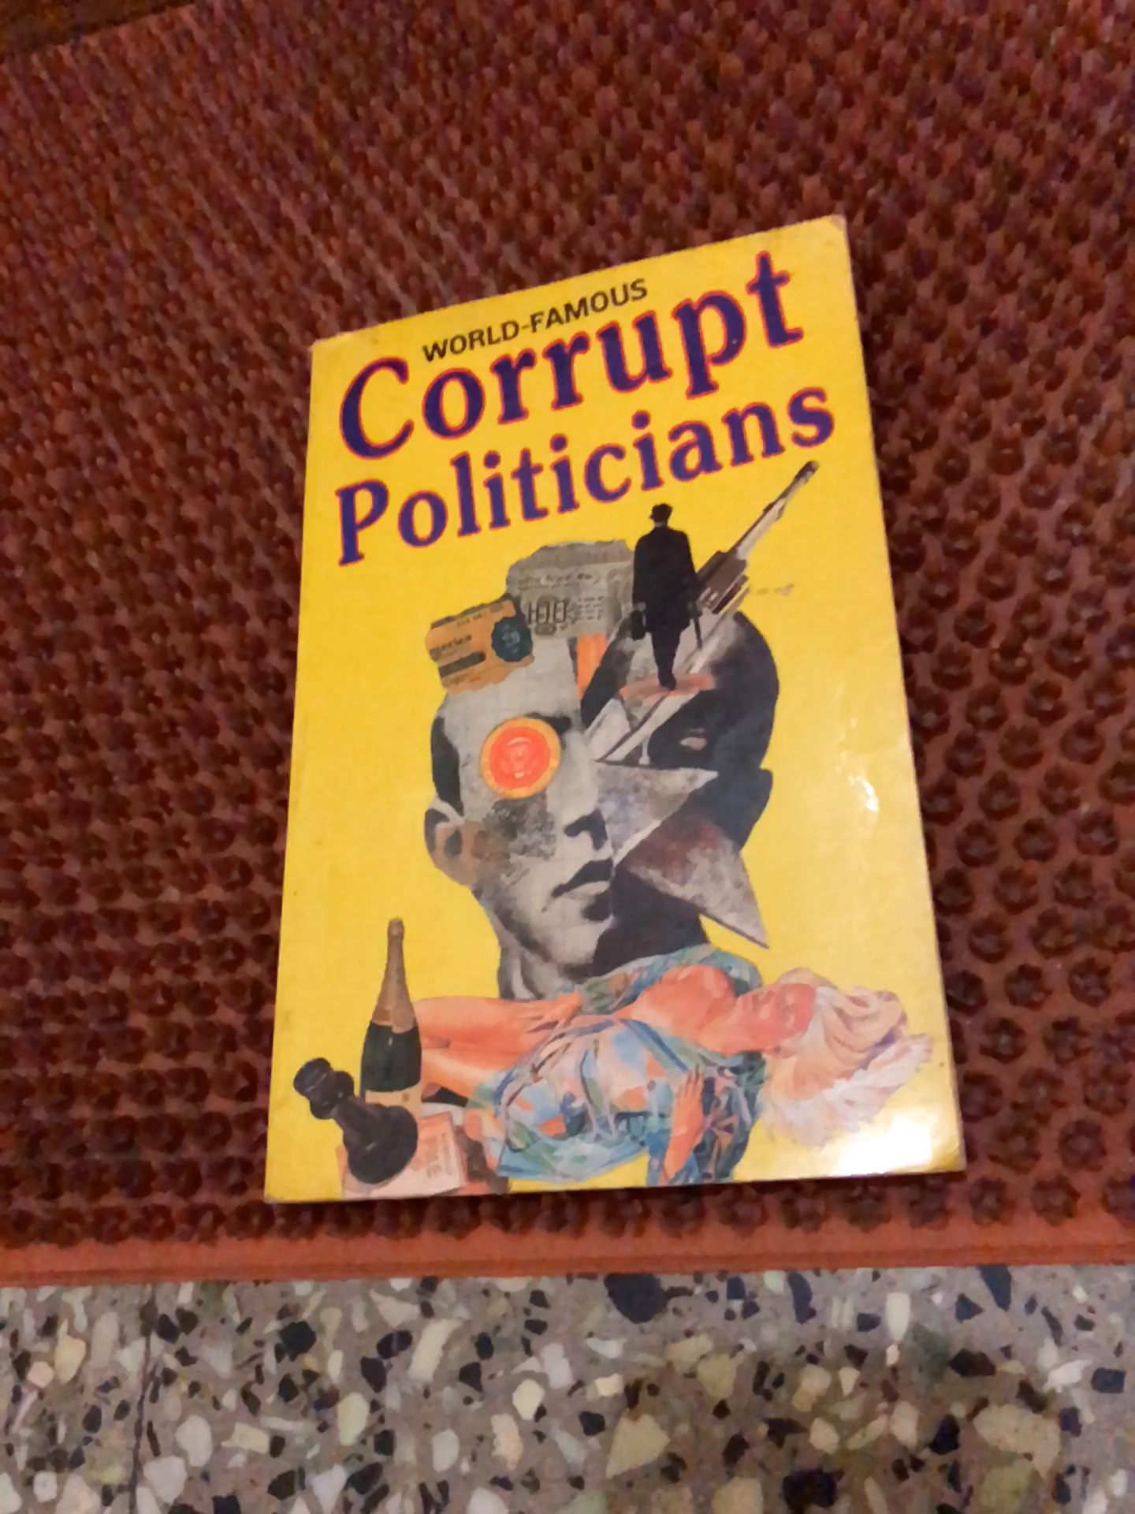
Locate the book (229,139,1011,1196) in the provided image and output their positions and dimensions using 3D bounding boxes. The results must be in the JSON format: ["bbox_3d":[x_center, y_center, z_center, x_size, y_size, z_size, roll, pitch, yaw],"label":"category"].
[{"bbox_3d":[0.002,-0.026,0.287,0.150,0.020,0.230,-8,68,14],"label":"book"}]
